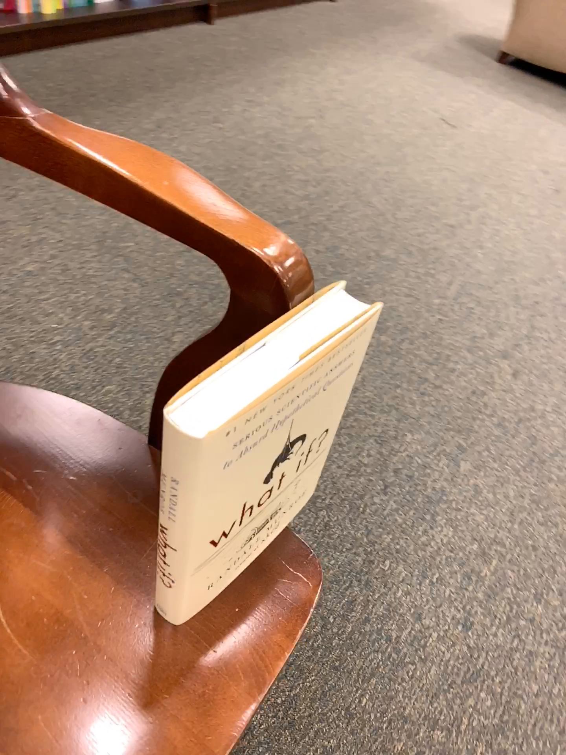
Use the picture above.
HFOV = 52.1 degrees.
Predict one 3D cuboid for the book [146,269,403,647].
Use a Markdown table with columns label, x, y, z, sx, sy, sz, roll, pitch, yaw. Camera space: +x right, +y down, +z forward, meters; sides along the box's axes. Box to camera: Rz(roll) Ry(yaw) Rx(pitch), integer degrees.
| label | x | y | z | sx | sy | sz | roll | pitch | yaw |
| --- | --- | --- | --- | --- | --- | --- | --- | --- | --- |
| book | -0.013 | 0.065 | 0.432 | 0.050 | 0.239 | 0.188 | 34 | 47 | 20 |
